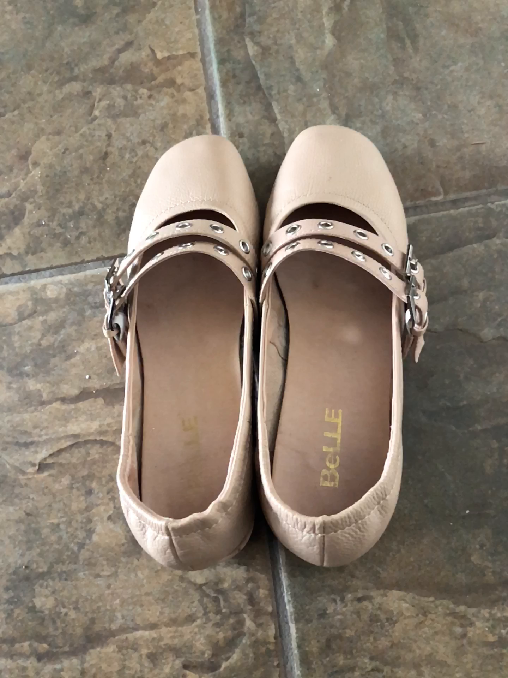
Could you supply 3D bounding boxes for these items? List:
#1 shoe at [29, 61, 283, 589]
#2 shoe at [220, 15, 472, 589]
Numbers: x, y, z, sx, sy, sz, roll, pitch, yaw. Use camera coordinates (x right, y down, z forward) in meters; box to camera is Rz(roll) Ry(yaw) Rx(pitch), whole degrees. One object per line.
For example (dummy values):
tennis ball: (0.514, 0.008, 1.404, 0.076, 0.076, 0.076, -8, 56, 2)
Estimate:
shoe: (-0.045, -0.009, 0.305, 0.100, 0.090, 0.250, -5, 74, 5)
shoe: (0.043, -0.021, 0.280, 0.090, 0.090, 0.250, 1, 74, 7)
